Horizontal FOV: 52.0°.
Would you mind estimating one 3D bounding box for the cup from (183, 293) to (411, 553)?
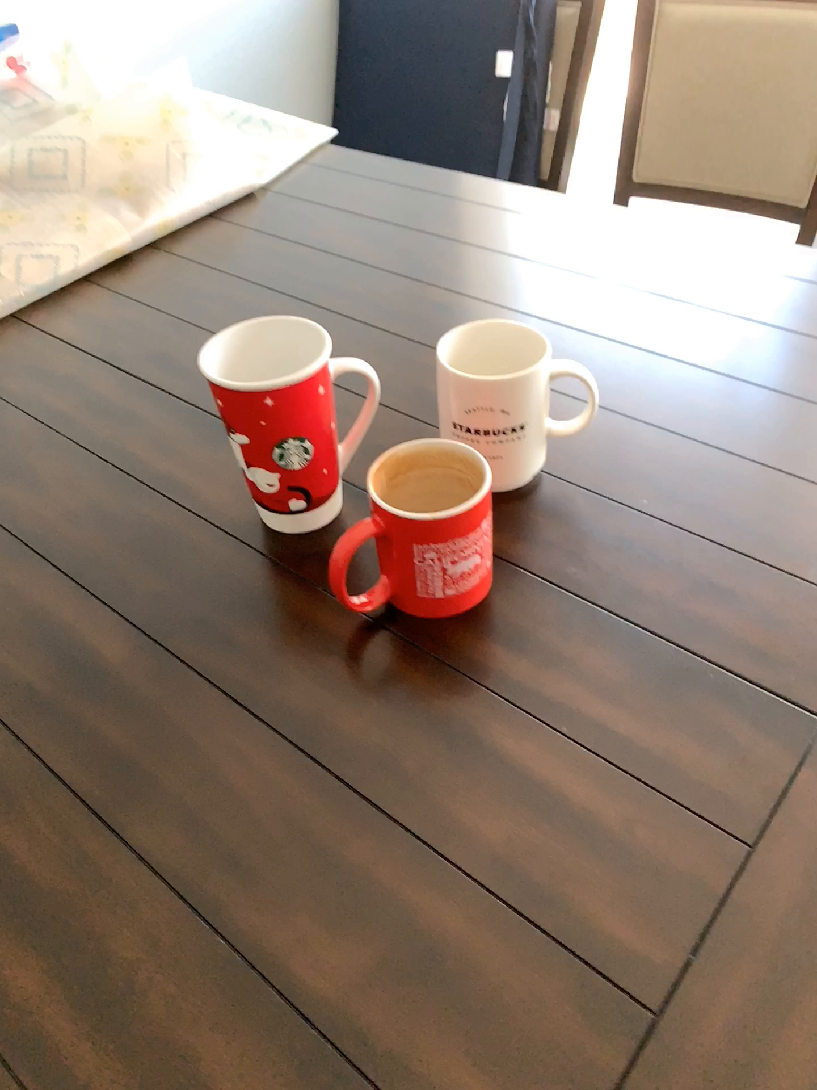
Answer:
[{"bbox_3d":[-0.082,-0.091,0.633,0.140,0.139,0.101,-11,44,-4],"label":"cup"}]

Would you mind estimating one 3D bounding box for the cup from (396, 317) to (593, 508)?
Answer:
[{"bbox_3d":[0.072,-0.107,0.670,0.140,0.109,0.100,3,45,10],"label":"cup"}]

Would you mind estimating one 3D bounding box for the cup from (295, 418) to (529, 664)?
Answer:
[{"bbox_3d":[0.005,-0.005,0.567,0.120,0.090,0.090,-28,48,-20],"label":"cup"}]
